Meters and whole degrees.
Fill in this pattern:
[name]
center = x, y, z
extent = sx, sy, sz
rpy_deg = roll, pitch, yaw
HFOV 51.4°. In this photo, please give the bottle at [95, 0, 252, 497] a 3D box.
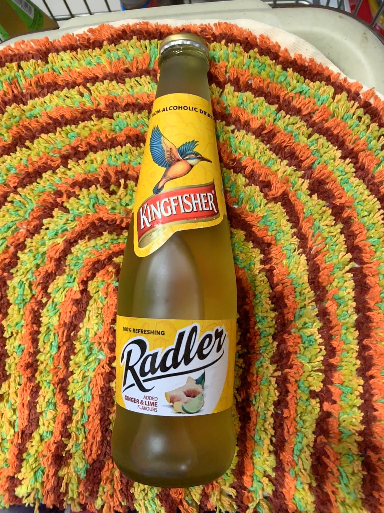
[bottle]
center = -0.002, -0.014, 0.199
extent = 0.060, 0.060, 0.220
rpy_deg = 1, 84, 9
